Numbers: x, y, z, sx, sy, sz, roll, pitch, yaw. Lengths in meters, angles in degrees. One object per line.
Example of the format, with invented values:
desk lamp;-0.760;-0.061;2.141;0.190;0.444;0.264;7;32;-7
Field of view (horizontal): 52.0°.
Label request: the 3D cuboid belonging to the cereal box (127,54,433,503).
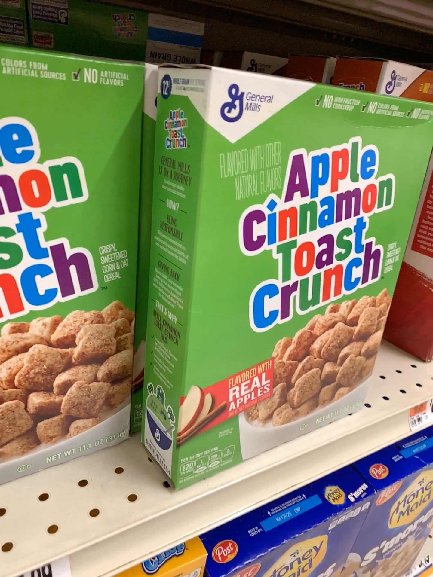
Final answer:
cereal box;0.053;-0.003;0.325;0.211;0.269;0.060;-9;30;-35
